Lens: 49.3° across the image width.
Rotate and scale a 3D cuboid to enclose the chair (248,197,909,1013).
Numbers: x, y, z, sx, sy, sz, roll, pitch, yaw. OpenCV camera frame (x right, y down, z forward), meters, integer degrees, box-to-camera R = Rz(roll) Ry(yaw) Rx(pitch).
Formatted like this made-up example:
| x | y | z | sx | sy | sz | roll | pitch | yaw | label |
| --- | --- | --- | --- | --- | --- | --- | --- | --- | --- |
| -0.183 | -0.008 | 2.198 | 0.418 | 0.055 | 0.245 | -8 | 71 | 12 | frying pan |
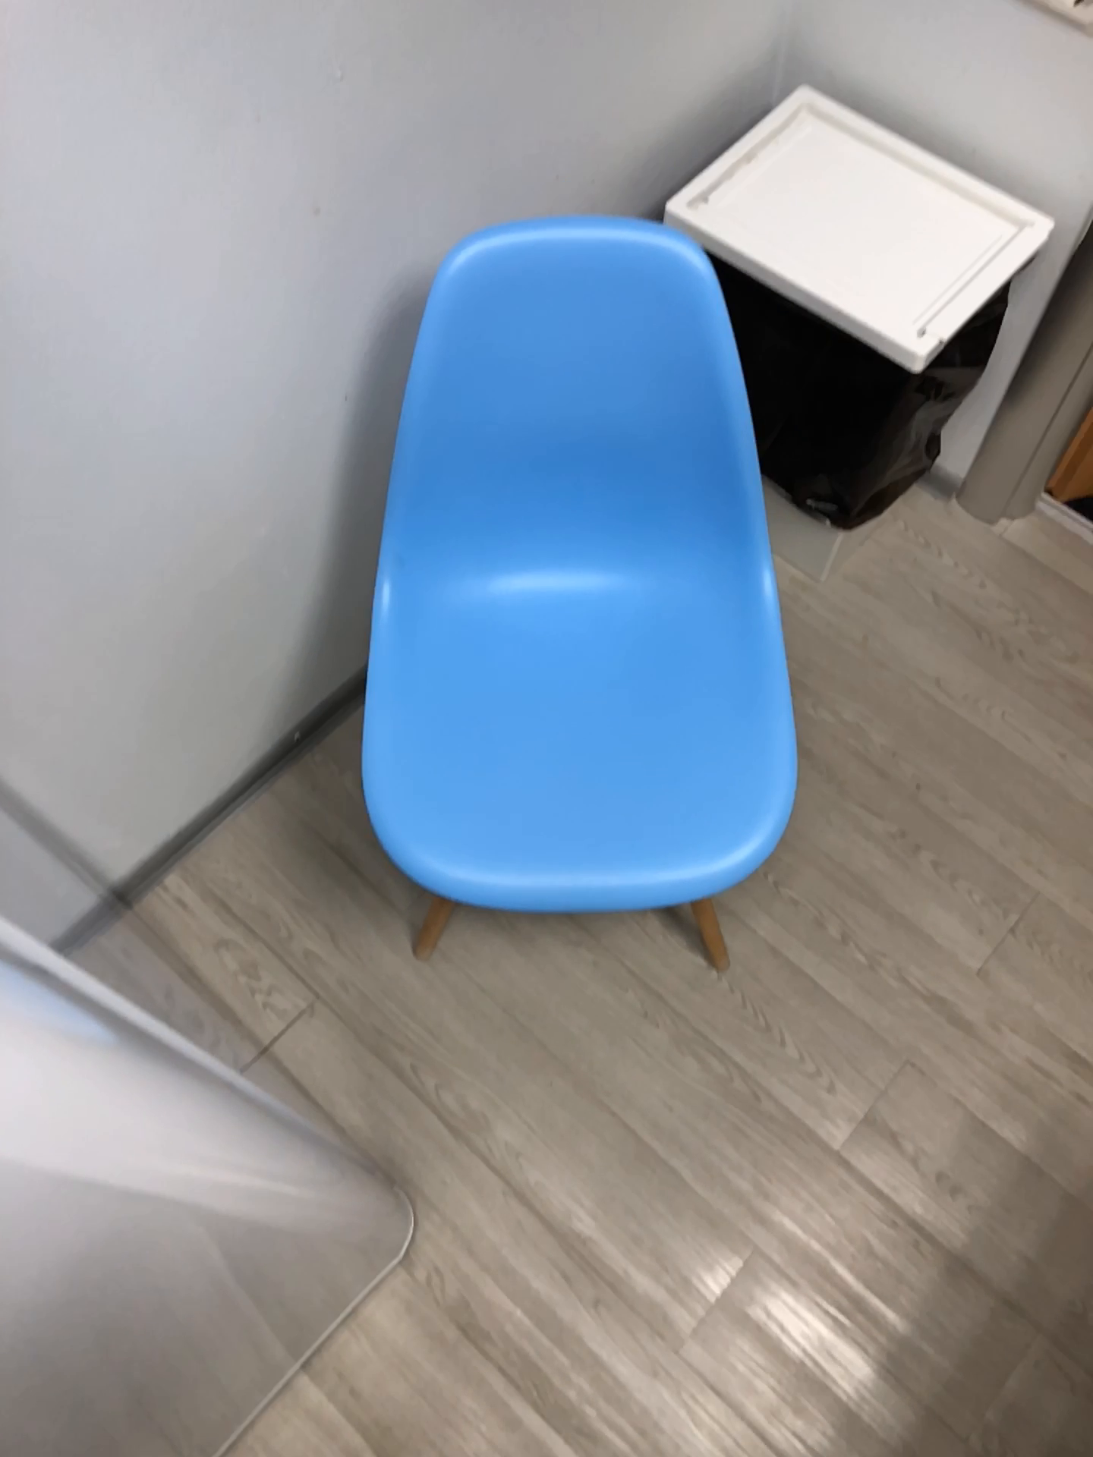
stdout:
| x | y | z | sx | sy | sz | roll | pitch | yaw | label |
| --- | --- | --- | --- | --- | --- | --- | --- | --- | --- |
| 0.045 | -0.057 | 1.295 | 0.460 | 0.778 | 0.532 | 3 | 64 | 3 | chair |
